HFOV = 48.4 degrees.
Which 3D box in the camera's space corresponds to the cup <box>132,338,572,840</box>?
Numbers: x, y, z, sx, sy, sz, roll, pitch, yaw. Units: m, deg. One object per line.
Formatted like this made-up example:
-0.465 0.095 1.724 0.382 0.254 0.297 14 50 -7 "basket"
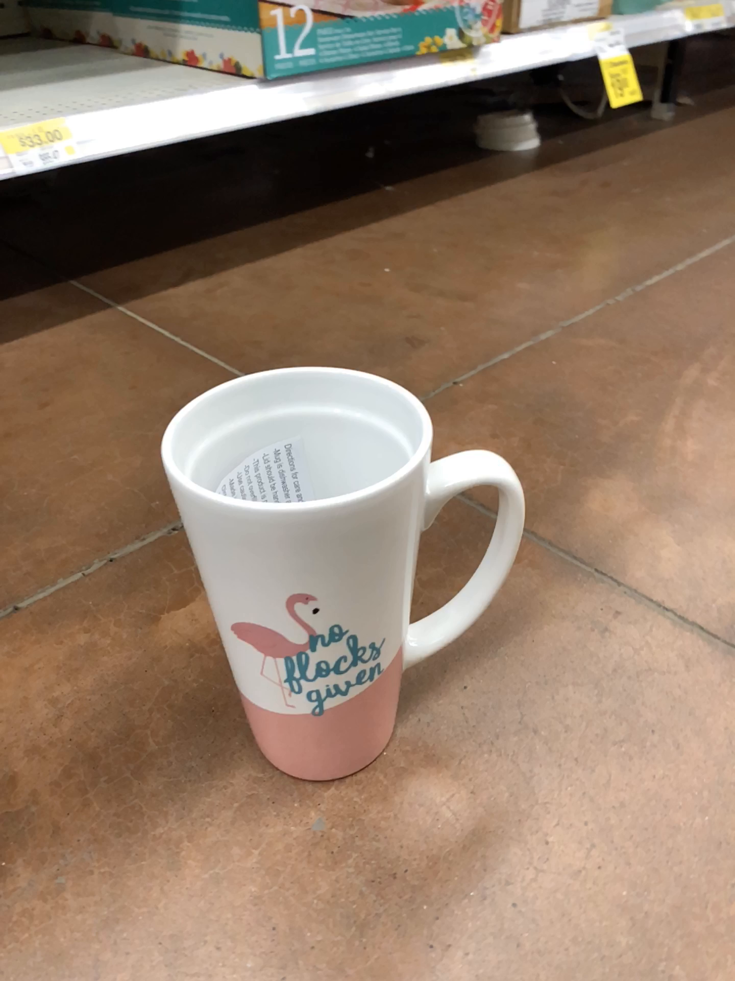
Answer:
-0.010 0.034 0.319 0.130 0.139 0.100 -11 36 -11 "cup"
